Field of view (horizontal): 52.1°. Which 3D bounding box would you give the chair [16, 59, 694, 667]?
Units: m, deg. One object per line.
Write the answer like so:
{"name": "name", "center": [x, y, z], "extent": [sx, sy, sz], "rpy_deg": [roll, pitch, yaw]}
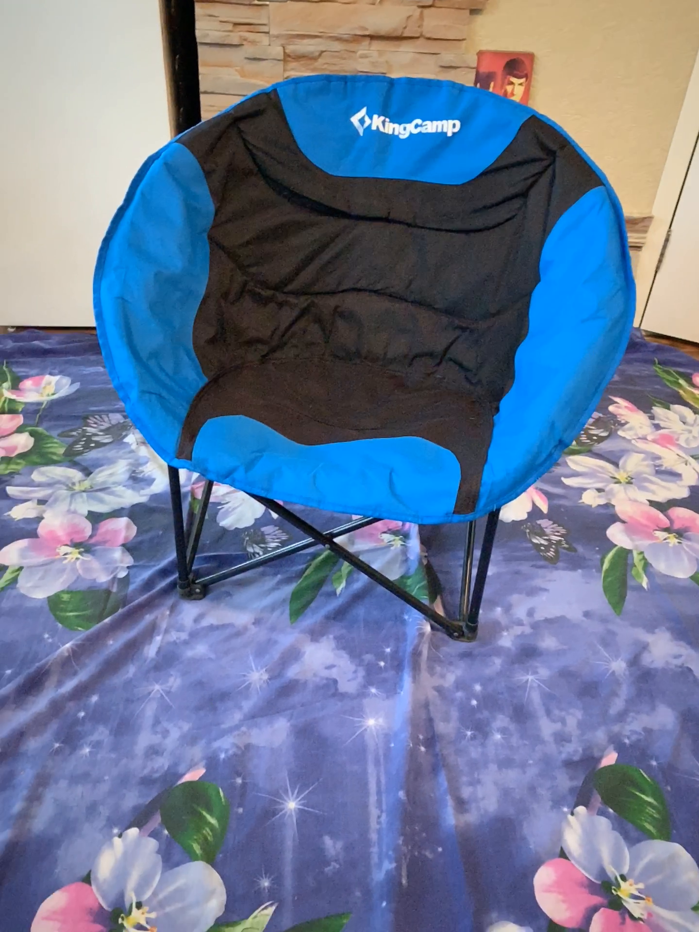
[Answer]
{"name": "chair", "center": [0.021, -0.217, 1.252], "extent": [0.760, 0.772, 0.613], "rpy_deg": [9, 35, 8]}
